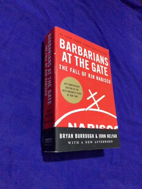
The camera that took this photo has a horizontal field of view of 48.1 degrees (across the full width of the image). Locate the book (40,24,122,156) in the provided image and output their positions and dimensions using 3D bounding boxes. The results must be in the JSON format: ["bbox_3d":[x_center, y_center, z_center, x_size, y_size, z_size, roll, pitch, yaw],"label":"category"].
[{"bbox_3d":[0.019,-0.003,0.299,0.141,0.050,0.210,11,67,-37],"label":"book"}]
